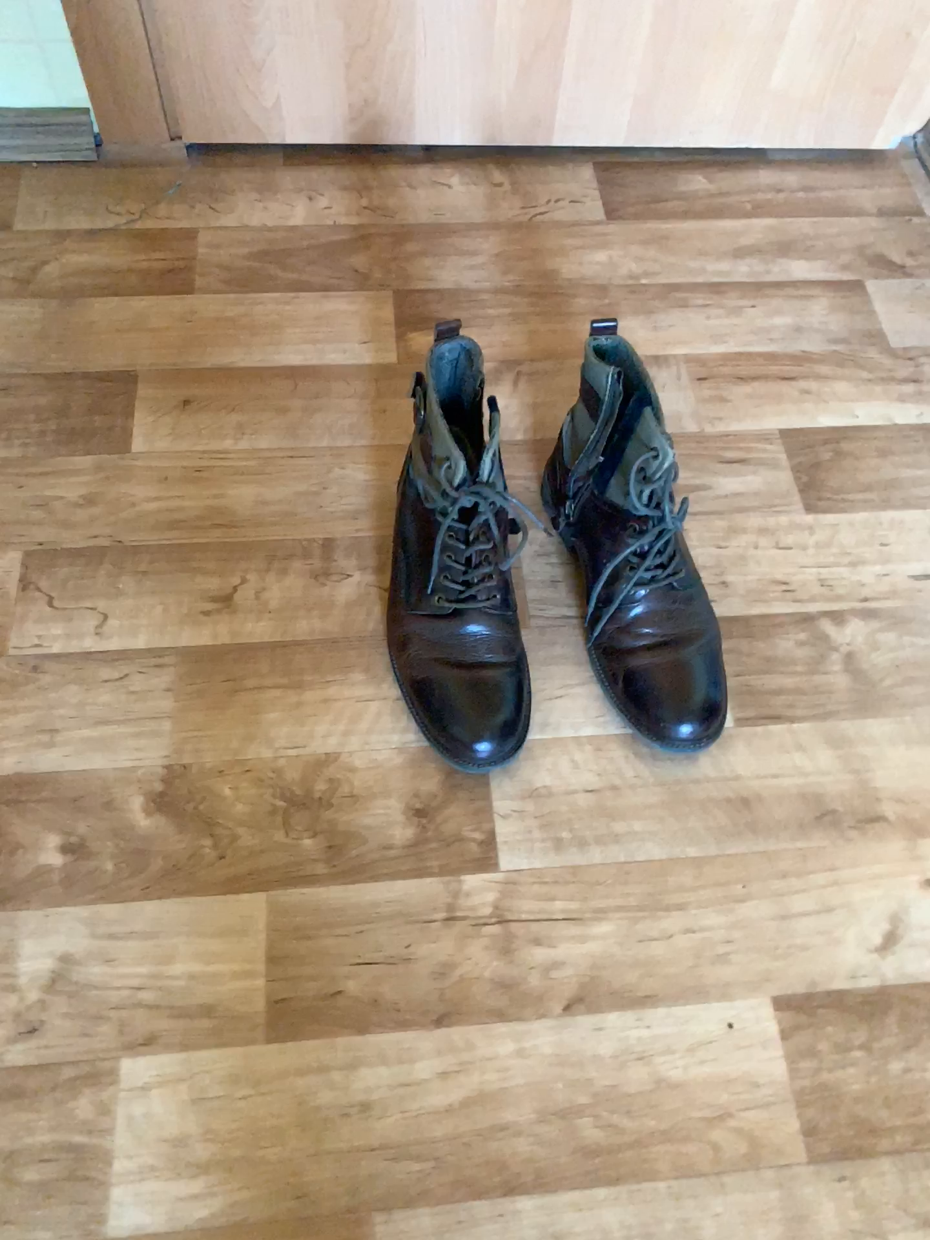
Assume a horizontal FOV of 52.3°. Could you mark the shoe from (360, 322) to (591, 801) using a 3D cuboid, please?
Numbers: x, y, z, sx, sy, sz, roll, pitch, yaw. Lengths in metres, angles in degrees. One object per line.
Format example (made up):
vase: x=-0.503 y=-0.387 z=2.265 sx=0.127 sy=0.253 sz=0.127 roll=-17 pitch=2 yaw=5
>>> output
shoe: x=-0.005 y=-0.047 z=0.693 sx=0.110 sy=0.150 sz=0.311 roll=-6 pitch=62 yaw=-7

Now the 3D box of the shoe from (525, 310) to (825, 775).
shoe: x=0.138 y=-0.062 z=0.717 sx=0.110 sy=0.150 sz=0.311 roll=-7 pitch=62 yaw=-7
